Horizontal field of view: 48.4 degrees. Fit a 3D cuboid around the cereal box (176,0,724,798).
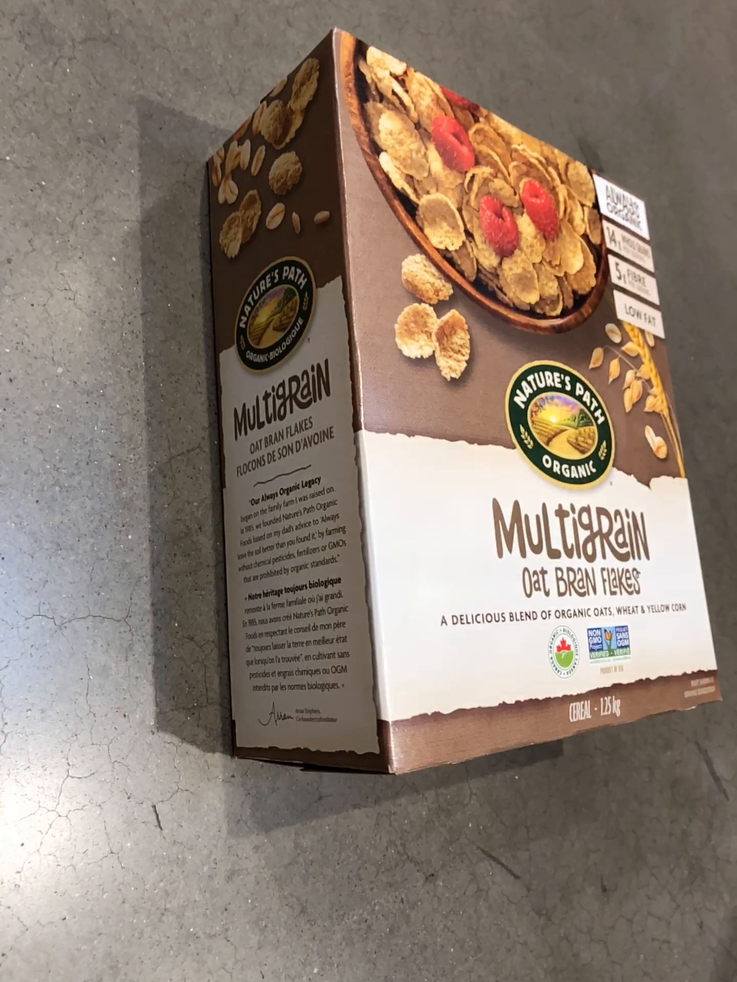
[{"bbox_3d":[0.043,-0.029,0.416,0.241,0.109,0.310,7,72,-41],"label":"cereal box"}]
